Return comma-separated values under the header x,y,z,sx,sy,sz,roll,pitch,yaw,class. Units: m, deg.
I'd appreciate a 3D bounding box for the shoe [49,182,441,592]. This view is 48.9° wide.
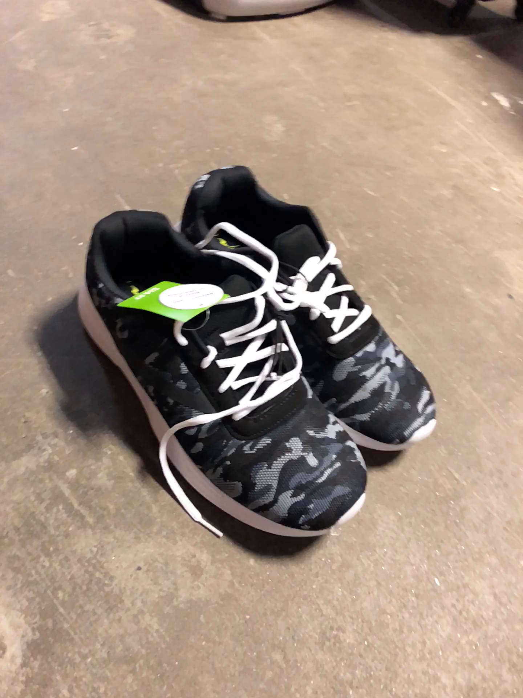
x,y,z,sx,sy,sz,roll,pitch,yaw,class
-0.028,0.020,0.429,0.110,0.139,0.261,-34,65,-31,shoe

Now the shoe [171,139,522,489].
x,y,z,sx,sy,sz,roll,pitch,yaw,class
0.053,-0.038,0.501,0.121,0.139,0.261,-34,65,-31,shoe
